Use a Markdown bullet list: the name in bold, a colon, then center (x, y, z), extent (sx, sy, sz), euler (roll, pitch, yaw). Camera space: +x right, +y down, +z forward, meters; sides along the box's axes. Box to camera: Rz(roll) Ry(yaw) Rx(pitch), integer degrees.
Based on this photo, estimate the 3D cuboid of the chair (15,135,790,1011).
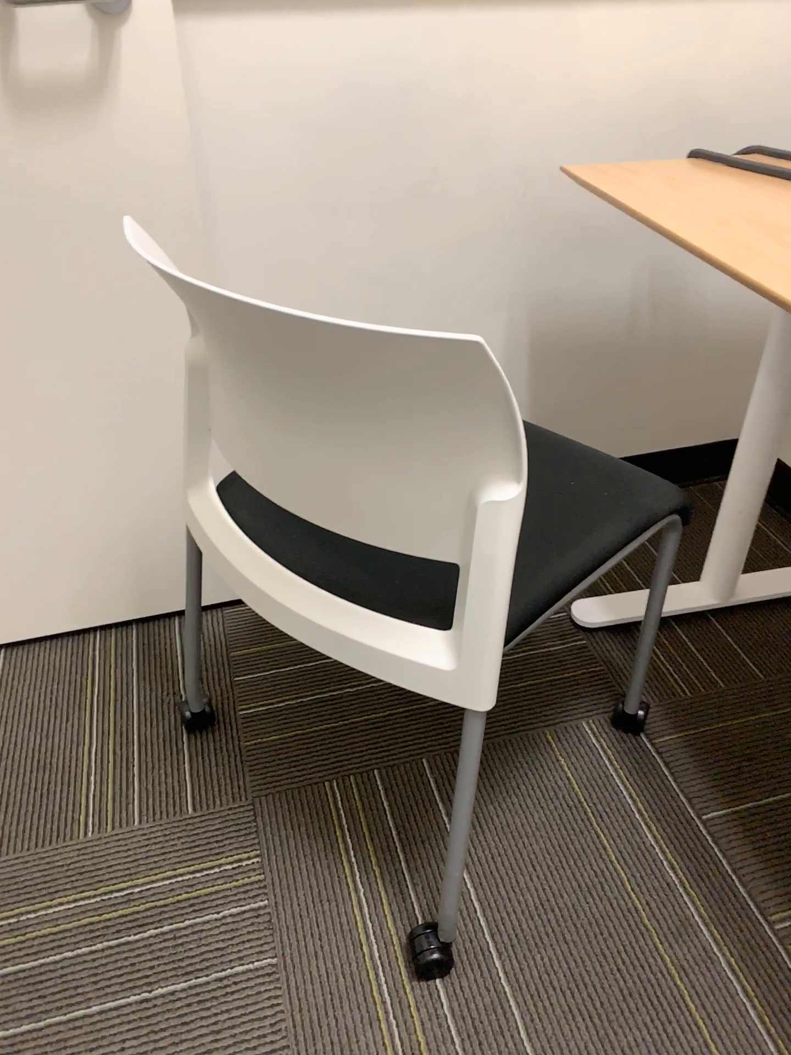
- **chair**: center (0.028, -0.008, 1.038), extent (0.581, 0.755, 0.613), euler (-29, 45, -34)
